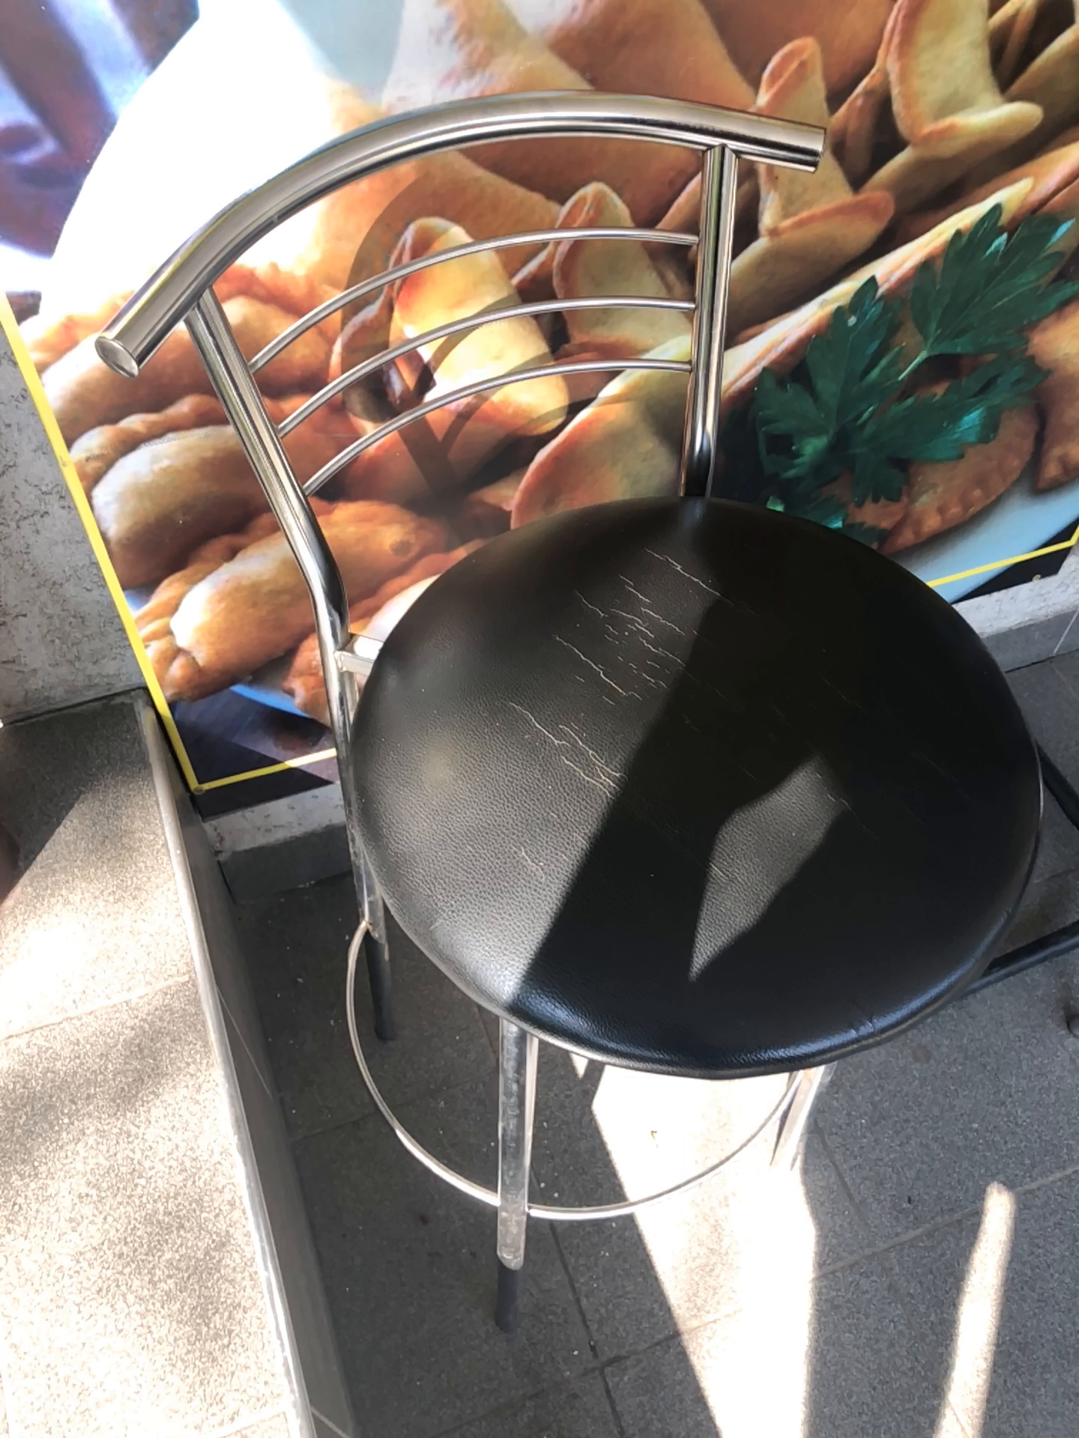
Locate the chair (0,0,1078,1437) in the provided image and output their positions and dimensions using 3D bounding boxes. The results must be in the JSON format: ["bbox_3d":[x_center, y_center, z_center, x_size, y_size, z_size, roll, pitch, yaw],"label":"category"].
[{"bbox_3d":[0.049,0.116,0.870,0.480,0.937,0.481,-23,58,-17],"label":"chair"}]
